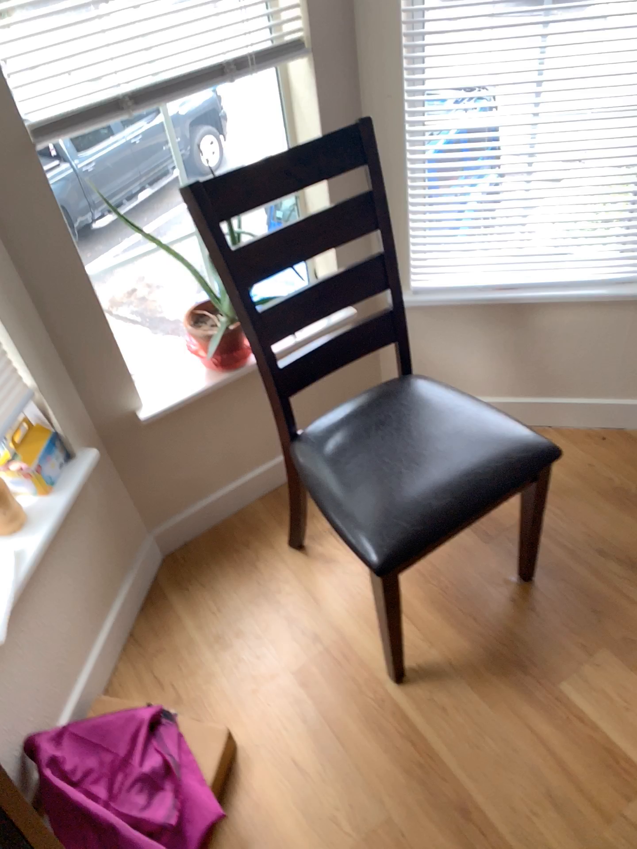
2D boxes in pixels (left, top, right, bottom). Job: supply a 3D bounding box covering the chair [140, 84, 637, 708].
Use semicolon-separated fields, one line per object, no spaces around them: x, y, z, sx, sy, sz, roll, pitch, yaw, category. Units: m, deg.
0.154;-0.033;1.267;0.560;0.946;0.542;-29;46;-20;chair
